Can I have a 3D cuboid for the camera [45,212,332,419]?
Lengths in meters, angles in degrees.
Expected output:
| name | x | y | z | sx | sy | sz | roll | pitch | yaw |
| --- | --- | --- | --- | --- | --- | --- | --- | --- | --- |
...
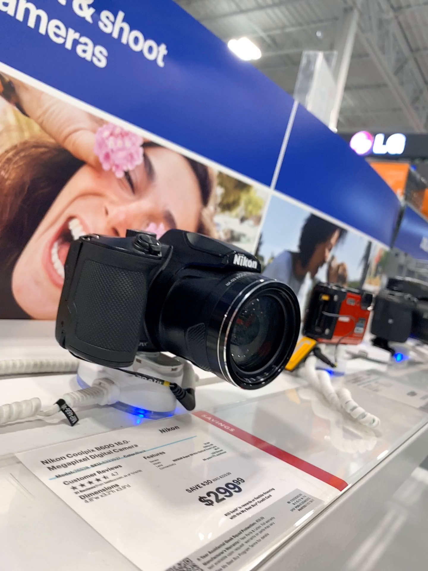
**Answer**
| name | x | y | z | sx | sy | sz | roll | pitch | yaw |
| --- | --- | --- | --- | --- | --- | --- | --- | --- | --- |
| camera | -0.012 | 0.014 | 0.265 | 0.100 | 0.080 | 0.120 | 15 | 4 | 43 |
